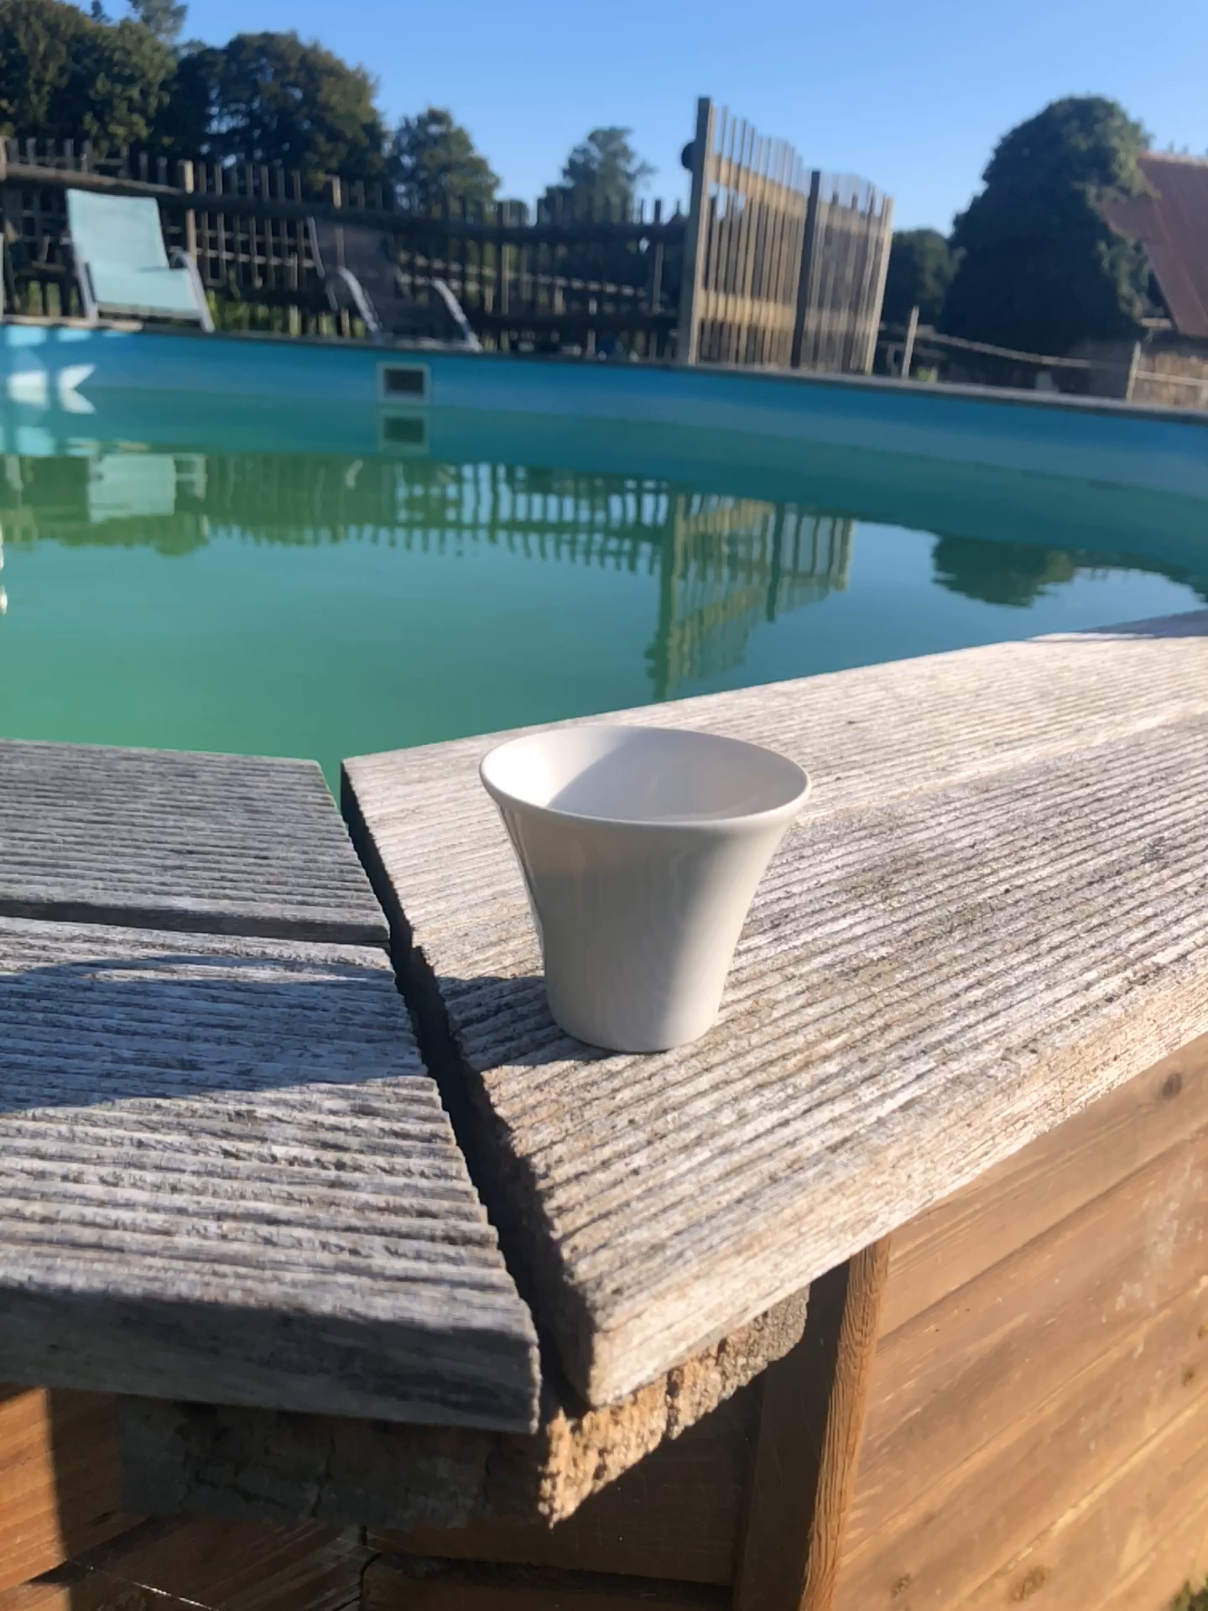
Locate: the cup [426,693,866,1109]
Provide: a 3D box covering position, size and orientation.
[{"bbox_3d":[0.014,0.015,0.313,0.076,0.053,0.097,9,20,15],"label":"cup"}]
